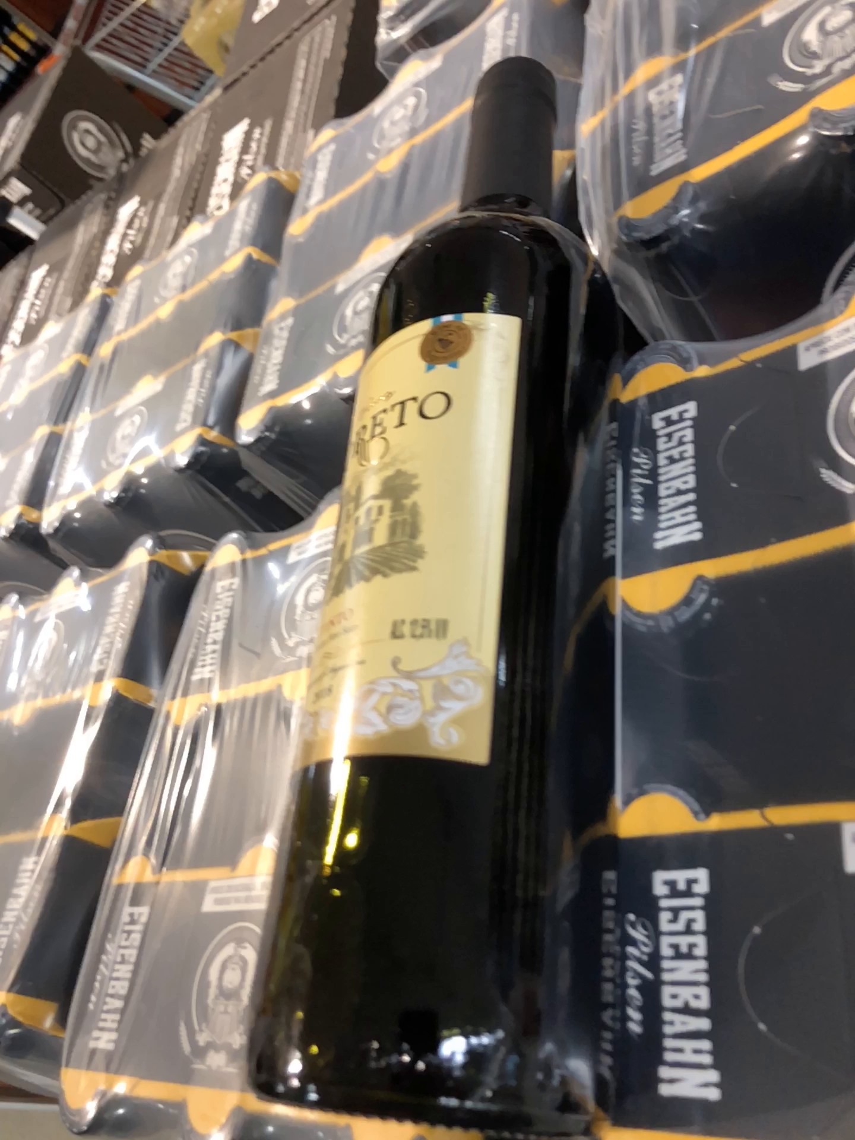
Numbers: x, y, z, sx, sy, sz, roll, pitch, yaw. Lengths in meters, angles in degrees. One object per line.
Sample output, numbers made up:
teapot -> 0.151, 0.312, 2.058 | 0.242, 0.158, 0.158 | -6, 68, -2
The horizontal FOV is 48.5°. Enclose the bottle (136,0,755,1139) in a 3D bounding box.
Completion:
bottle -> 0.017, -0.045, 0.250 | 0.080, 0.080, 0.331 | -30, 45, 48
